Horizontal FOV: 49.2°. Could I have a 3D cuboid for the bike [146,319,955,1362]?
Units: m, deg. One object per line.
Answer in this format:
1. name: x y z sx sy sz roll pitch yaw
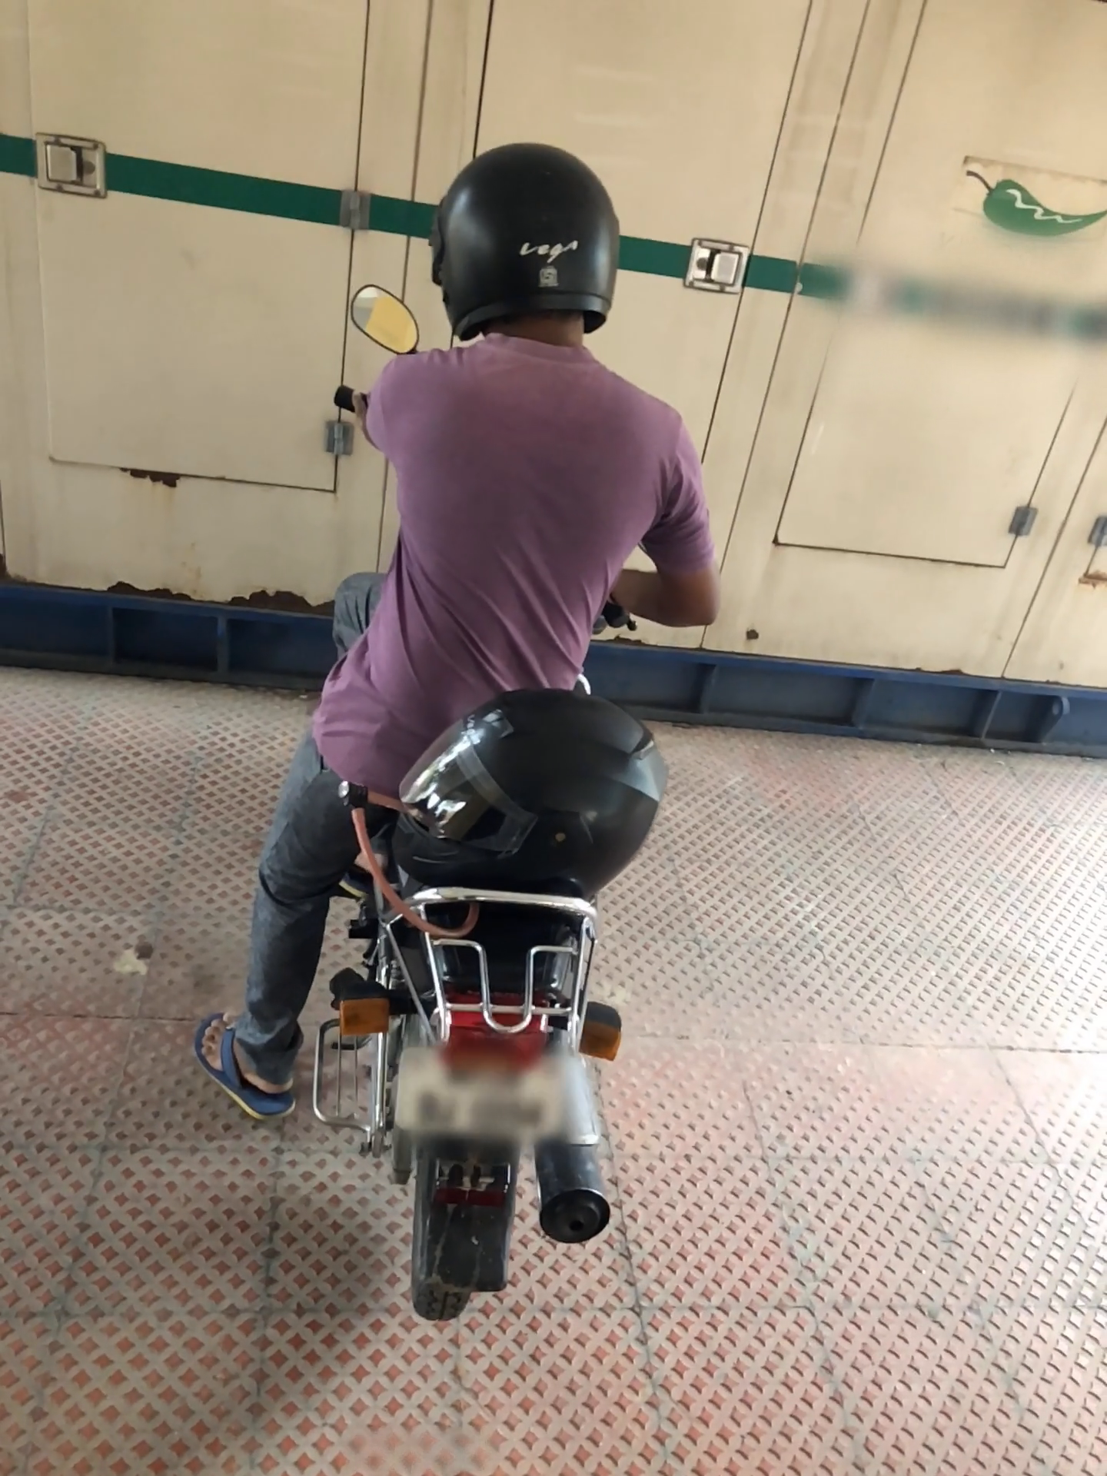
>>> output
1. bike: -0.001 0.025 2.109 0.814 0.927 1.603 10 34 -3
